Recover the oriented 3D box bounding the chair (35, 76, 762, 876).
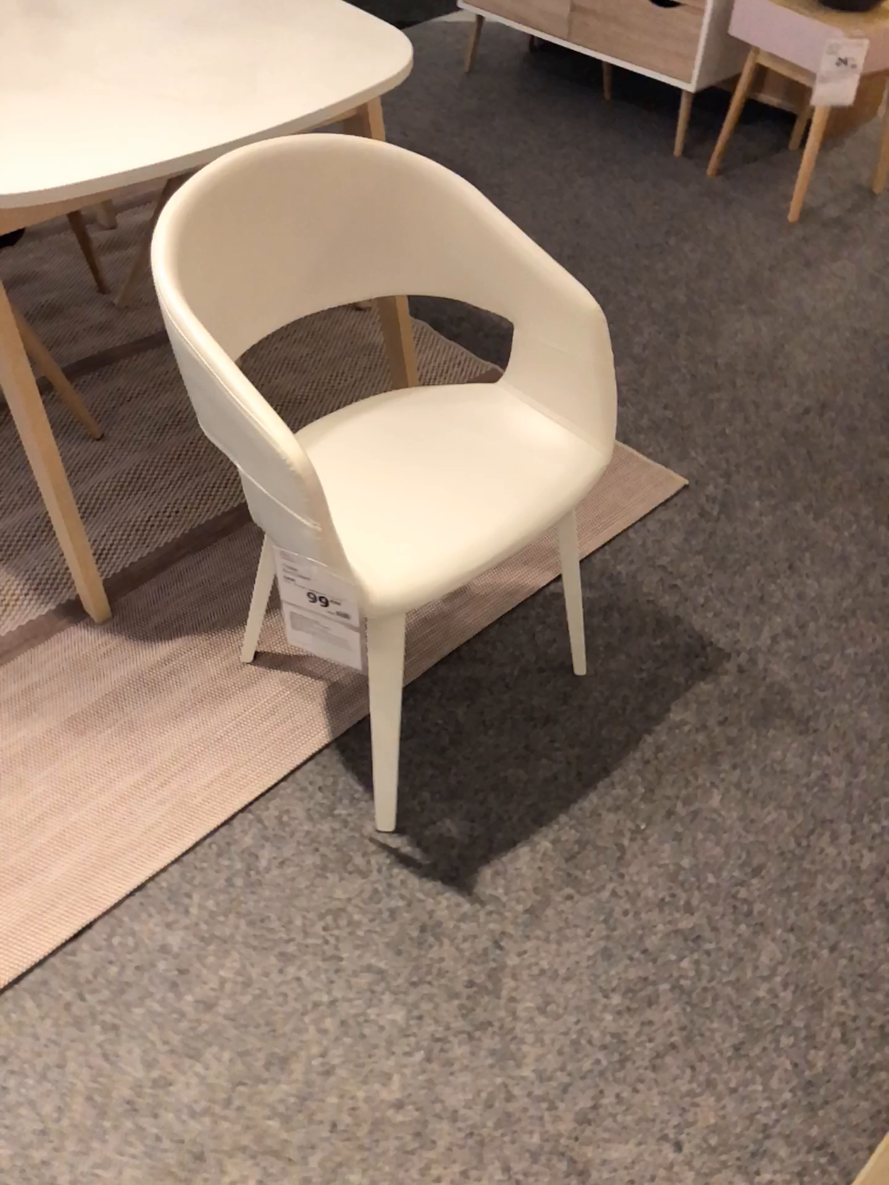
[{"bbox_3d":[-0.059,-0.155,1.323,0.553,0.756,0.560,-35,57,-29],"label":"chair"}]
